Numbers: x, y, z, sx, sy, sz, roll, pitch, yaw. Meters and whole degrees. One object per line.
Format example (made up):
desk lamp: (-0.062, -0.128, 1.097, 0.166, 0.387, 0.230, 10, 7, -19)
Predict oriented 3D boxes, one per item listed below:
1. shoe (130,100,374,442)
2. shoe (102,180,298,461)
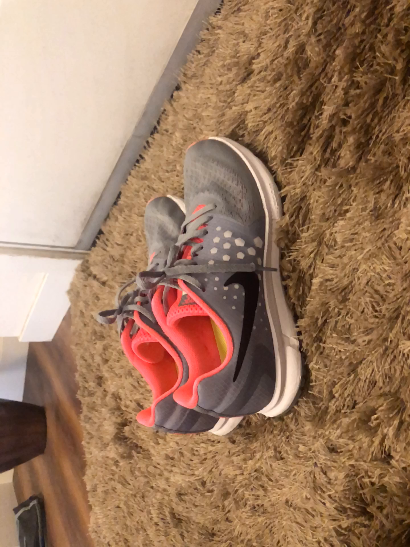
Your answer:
shoe: (0.025, -0.003, 0.420, 0.119, 0.118, 0.270, -43, 52, 49)
shoe: (-0.021, 0.046, 0.506, 0.114, 0.121, 0.270, -48, 48, 45)
